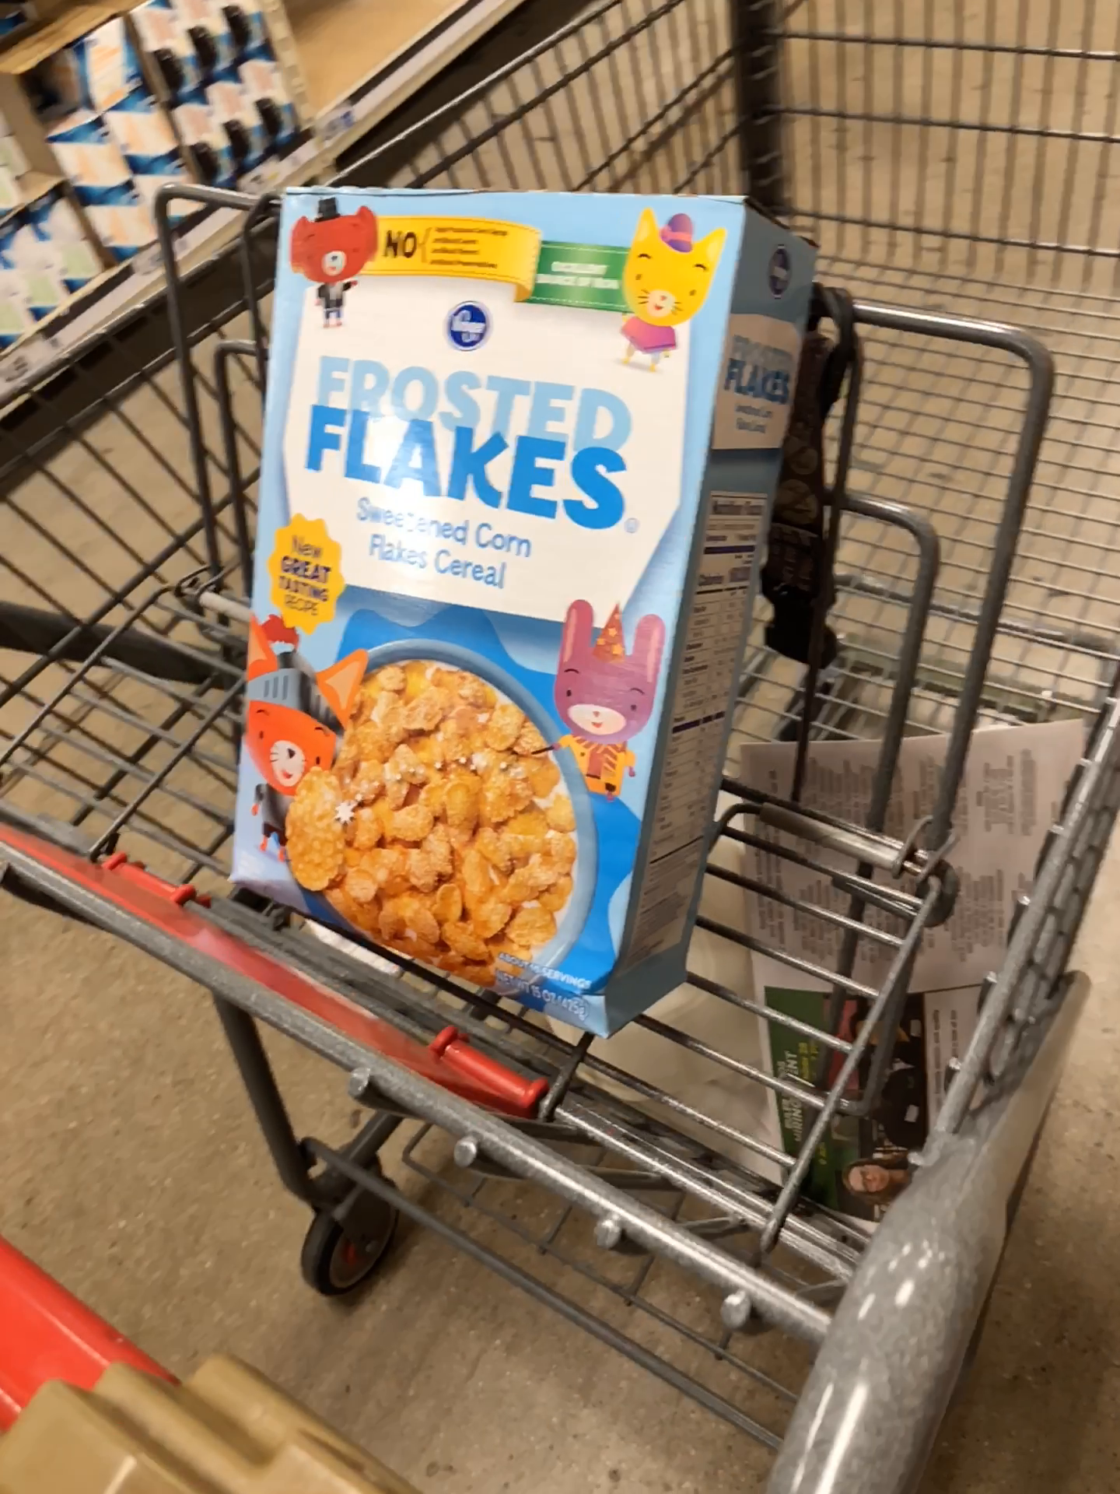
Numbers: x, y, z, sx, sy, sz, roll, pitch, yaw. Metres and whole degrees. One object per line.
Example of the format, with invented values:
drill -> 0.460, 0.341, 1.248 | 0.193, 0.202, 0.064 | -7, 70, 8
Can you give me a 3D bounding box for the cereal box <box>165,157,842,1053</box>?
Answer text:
cereal box -> -0.032, -0.058, 0.454 | 0.200, 0.270, 0.070 | 16, 14, 25
